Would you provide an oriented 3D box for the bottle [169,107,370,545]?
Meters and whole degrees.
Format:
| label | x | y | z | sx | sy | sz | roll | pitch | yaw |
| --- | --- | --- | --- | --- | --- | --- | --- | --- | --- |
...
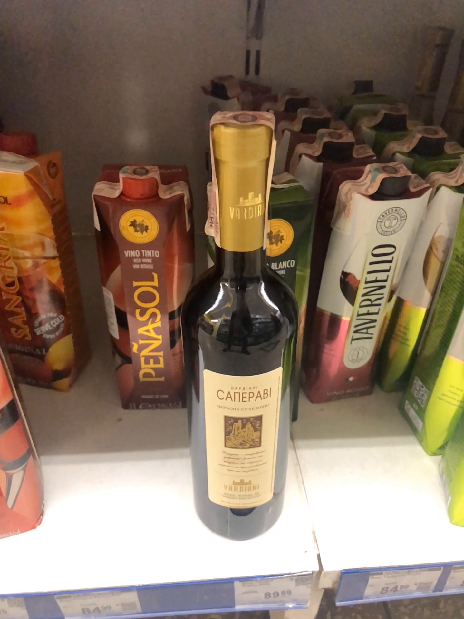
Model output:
| label | x | y | z | sx | sy | sz | roll | pitch | yaw |
| --- | --- | --- | --- | --- | --- | --- | --- | --- | --- |
| bottle | 0.009 | 0.033 | 0.314 | 0.080 | 0.281 | 0.070 | 0 | 36 | -3 |
